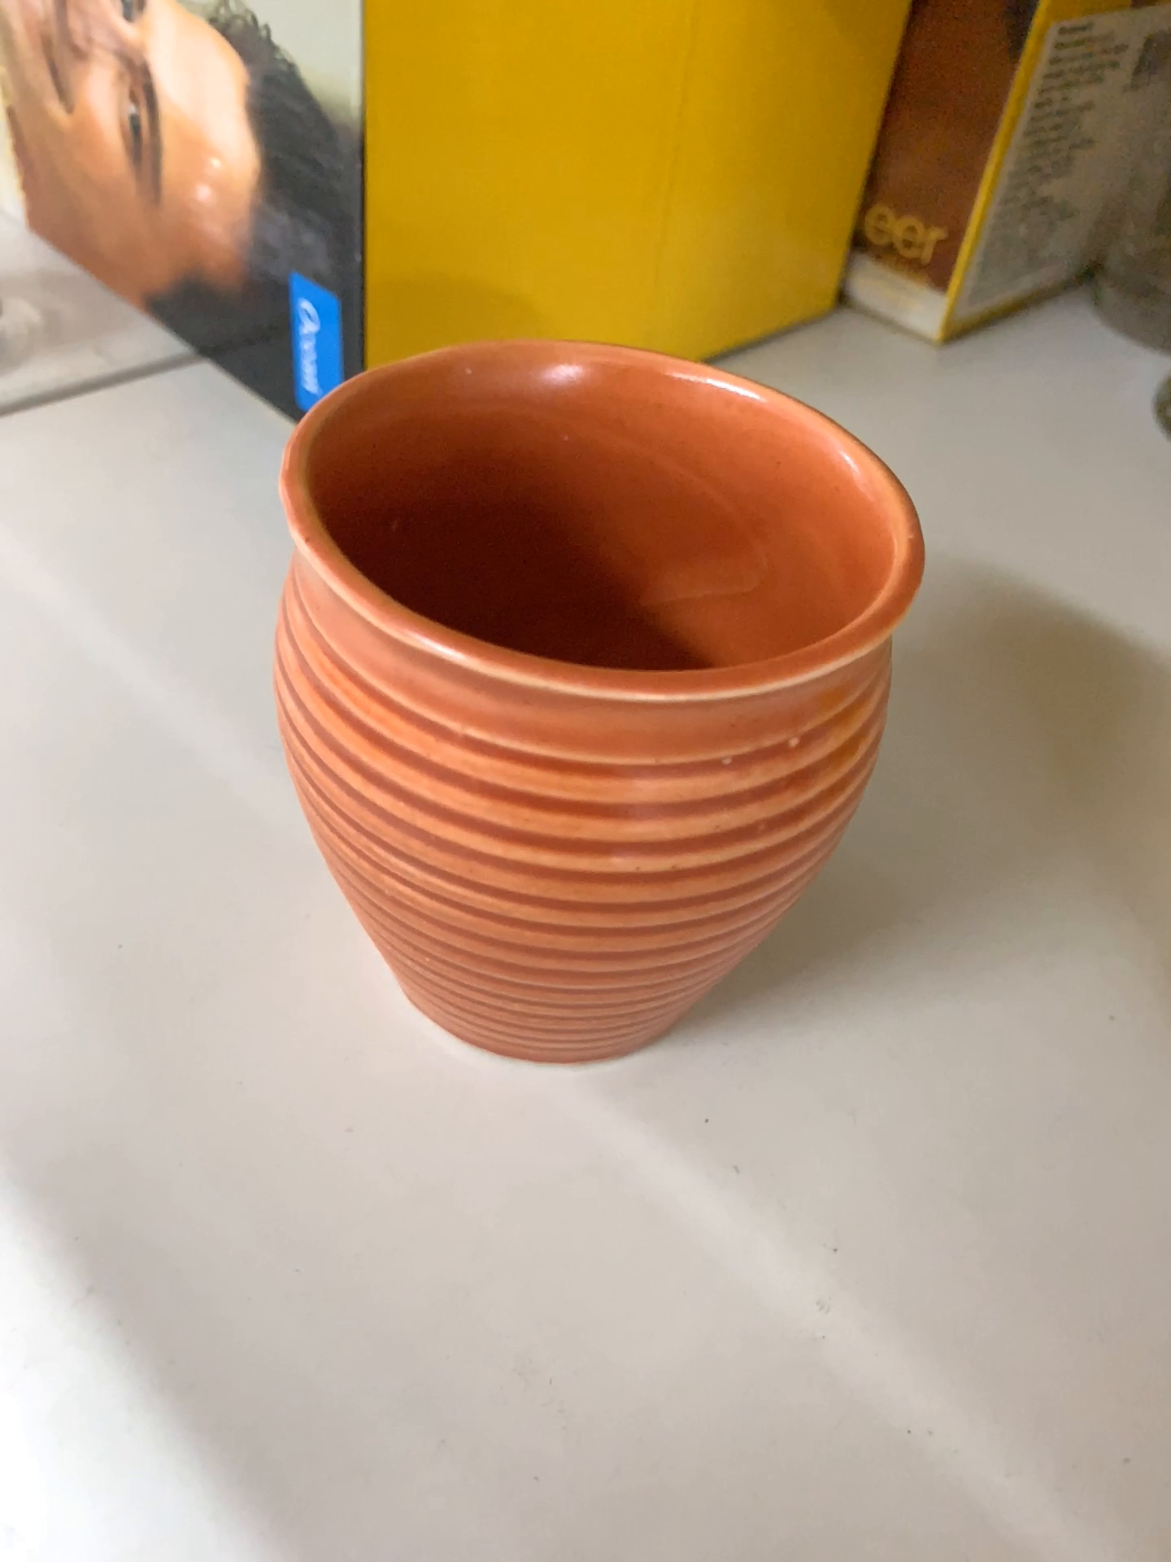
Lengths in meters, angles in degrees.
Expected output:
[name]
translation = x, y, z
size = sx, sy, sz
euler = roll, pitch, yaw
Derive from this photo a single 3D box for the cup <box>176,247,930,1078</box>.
[cup]
translation = -0.008, -0.013, 0.143
size = 0.060, 0.069, 0.060
euler = 4, 44, -4
